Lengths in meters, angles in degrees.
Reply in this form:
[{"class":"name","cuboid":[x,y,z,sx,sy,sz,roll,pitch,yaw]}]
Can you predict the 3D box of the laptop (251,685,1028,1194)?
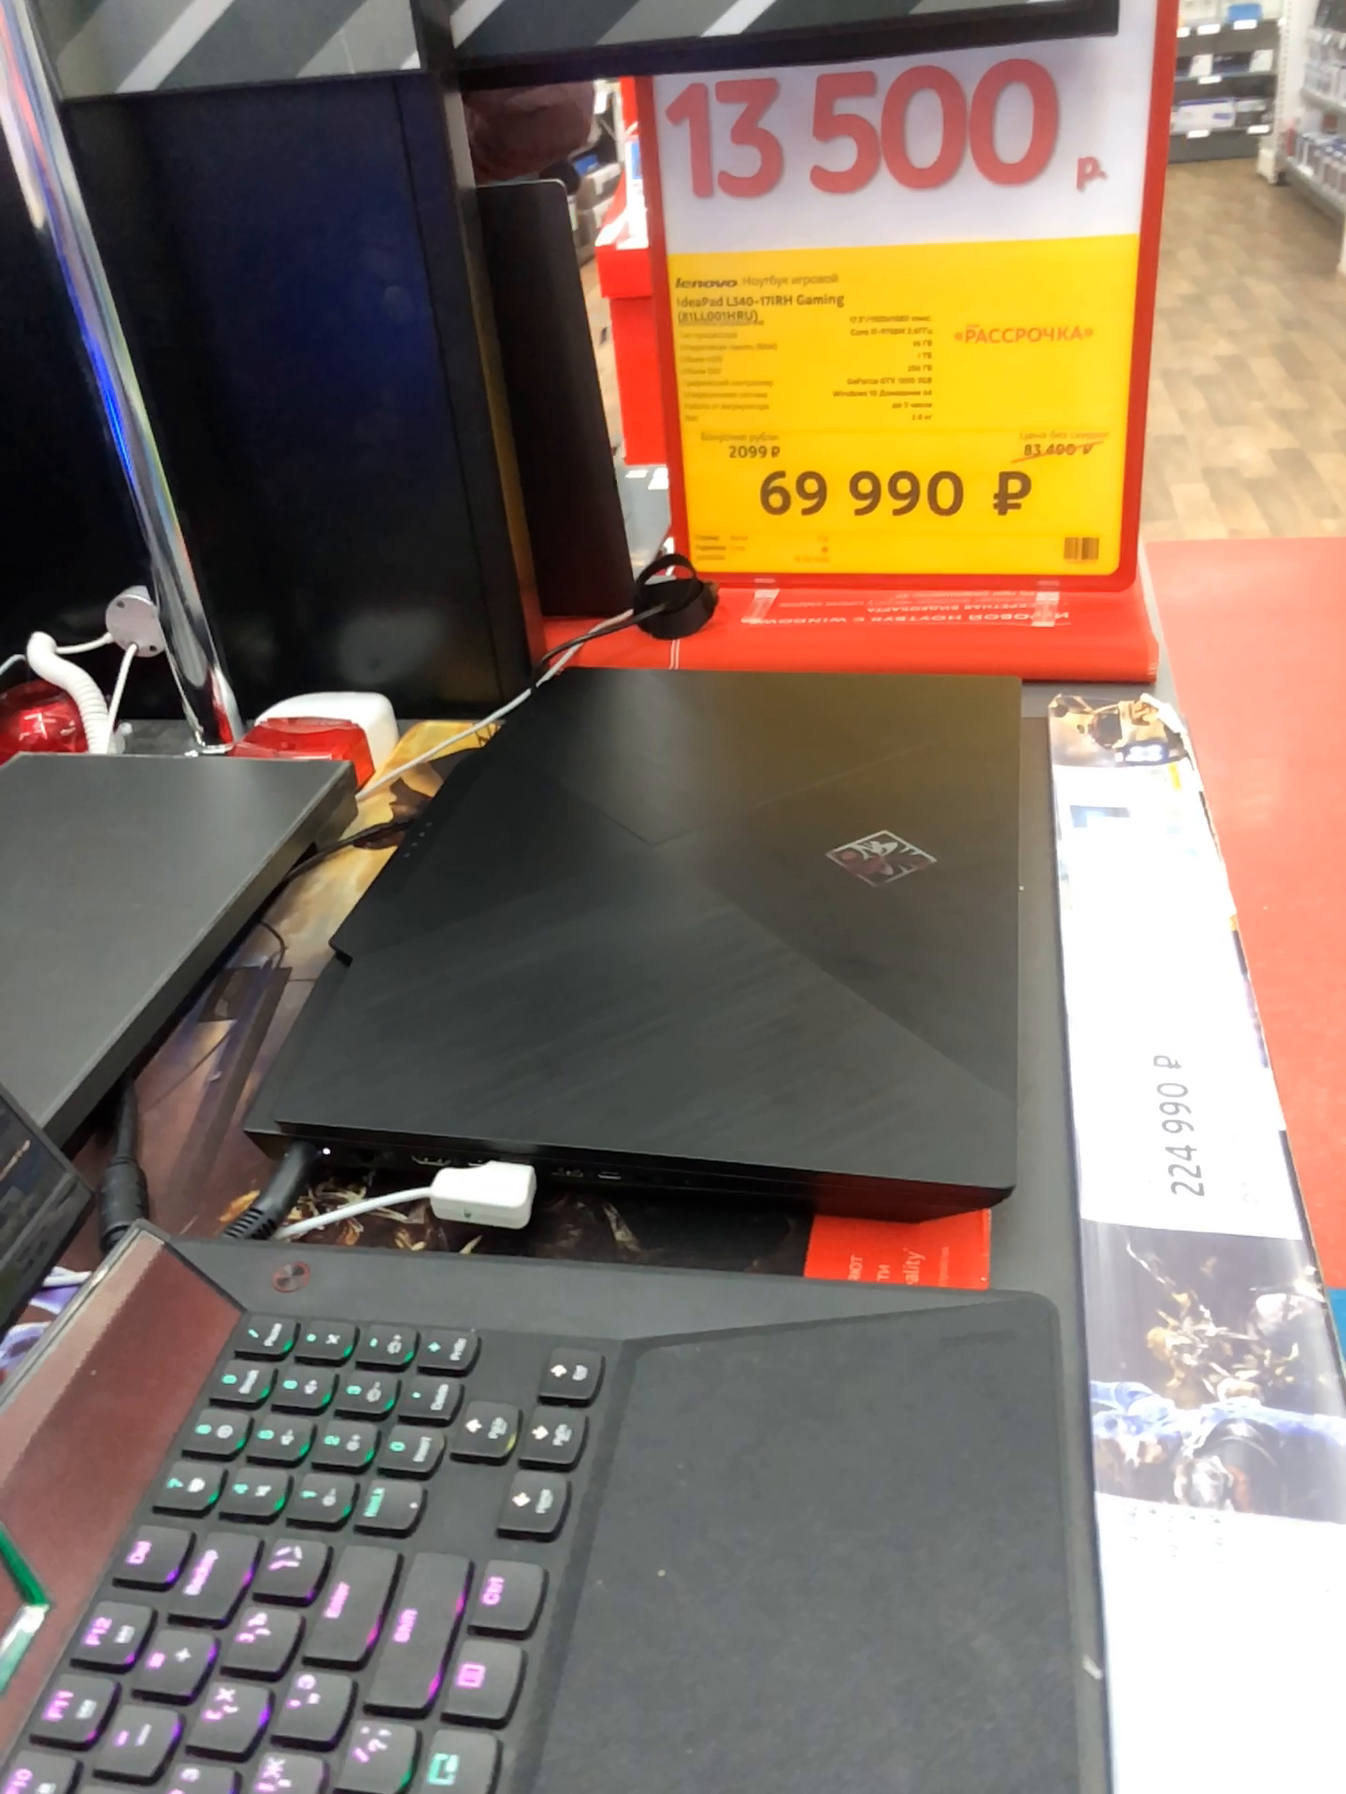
[{"class":"laptop","cuboid":[0.020,-0.013,0.652,0.261,0.002,0.400,1,31,12]}]
